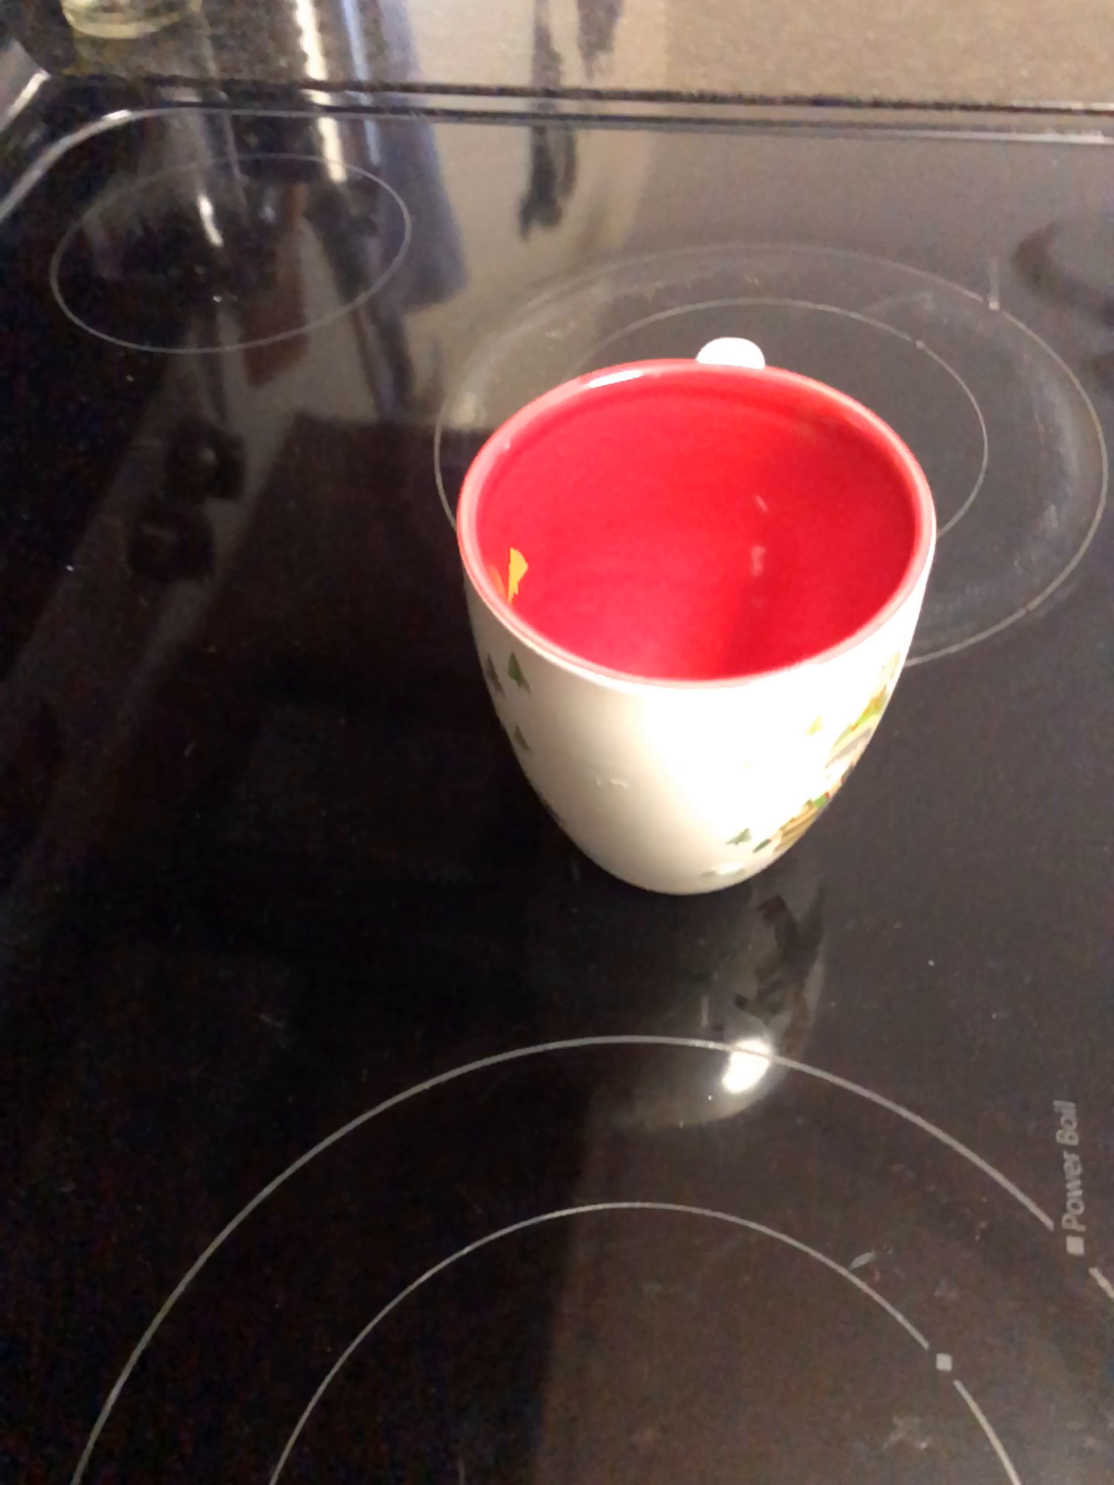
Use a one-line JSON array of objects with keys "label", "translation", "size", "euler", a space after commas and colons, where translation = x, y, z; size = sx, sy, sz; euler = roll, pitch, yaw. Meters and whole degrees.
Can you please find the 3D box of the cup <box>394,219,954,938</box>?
[{"label": "cup", "translation": [0.031, -0.043, 0.304], "size": [0.100, 0.100, 0.140], "euler": [4, 52, 7]}]
